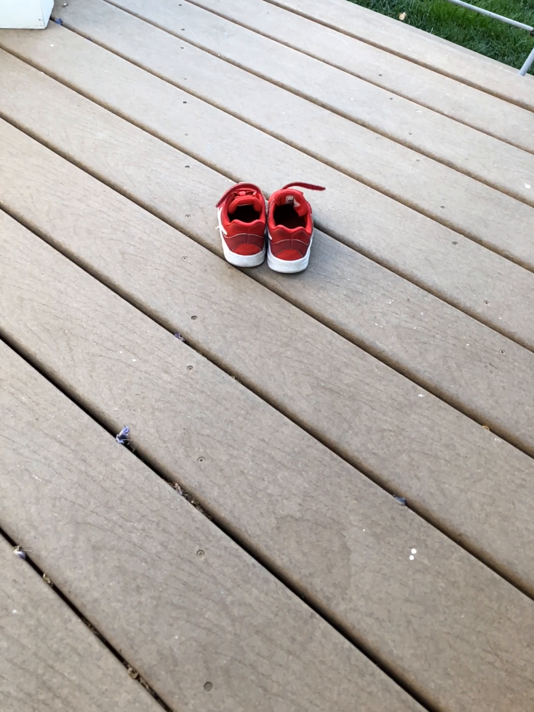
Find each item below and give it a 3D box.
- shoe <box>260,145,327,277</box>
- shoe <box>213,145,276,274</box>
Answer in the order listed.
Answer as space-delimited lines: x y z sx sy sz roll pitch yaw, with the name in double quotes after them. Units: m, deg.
0.035 -0.201 0.803 0.077 0.087 0.168 4 51 -2 "shoe"
-0.036 -0.205 0.809 0.077 0.087 0.168 0 52 -6 "shoe"
